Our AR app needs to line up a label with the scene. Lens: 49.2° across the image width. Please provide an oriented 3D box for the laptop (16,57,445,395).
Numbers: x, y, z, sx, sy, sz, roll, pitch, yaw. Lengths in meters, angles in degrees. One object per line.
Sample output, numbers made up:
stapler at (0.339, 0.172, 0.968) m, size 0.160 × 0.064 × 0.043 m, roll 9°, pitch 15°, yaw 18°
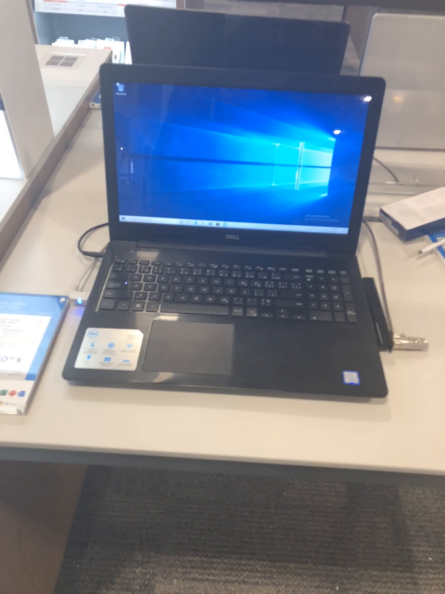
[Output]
laptop at (0.013, -0.102, 0.595) m, size 0.363 × 0.224 × 0.337 m, roll 3°, pitch 46°, yaw 2°
